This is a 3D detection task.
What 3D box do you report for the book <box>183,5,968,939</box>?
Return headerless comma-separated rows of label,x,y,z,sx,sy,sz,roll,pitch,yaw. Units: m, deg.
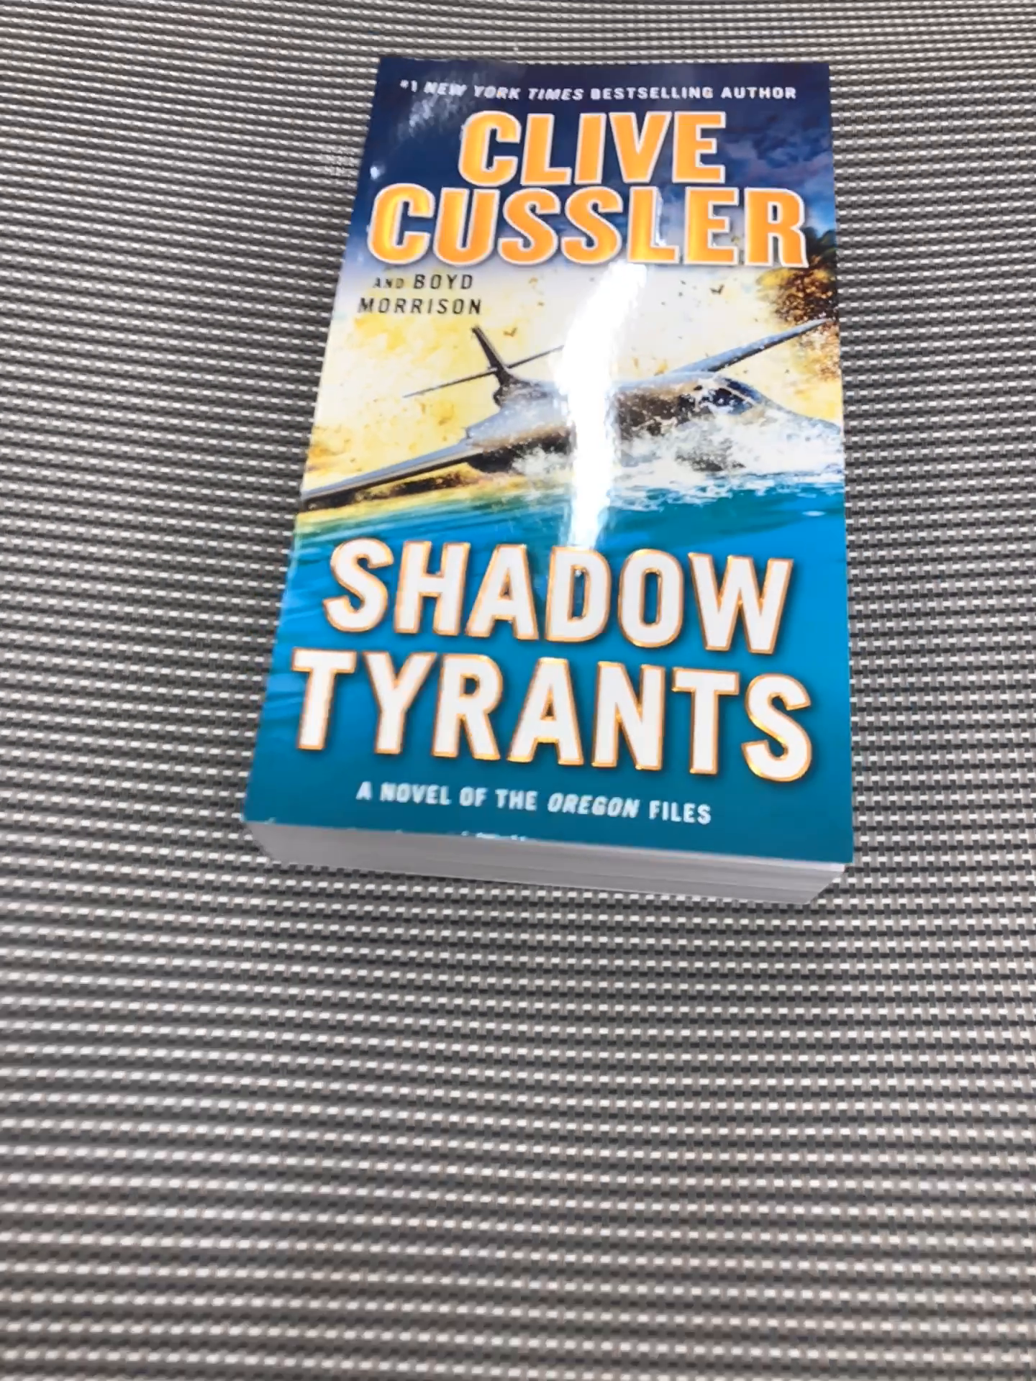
book,0.017,-0.050,0.237,0.120,0.060,0.181,5,67,2
